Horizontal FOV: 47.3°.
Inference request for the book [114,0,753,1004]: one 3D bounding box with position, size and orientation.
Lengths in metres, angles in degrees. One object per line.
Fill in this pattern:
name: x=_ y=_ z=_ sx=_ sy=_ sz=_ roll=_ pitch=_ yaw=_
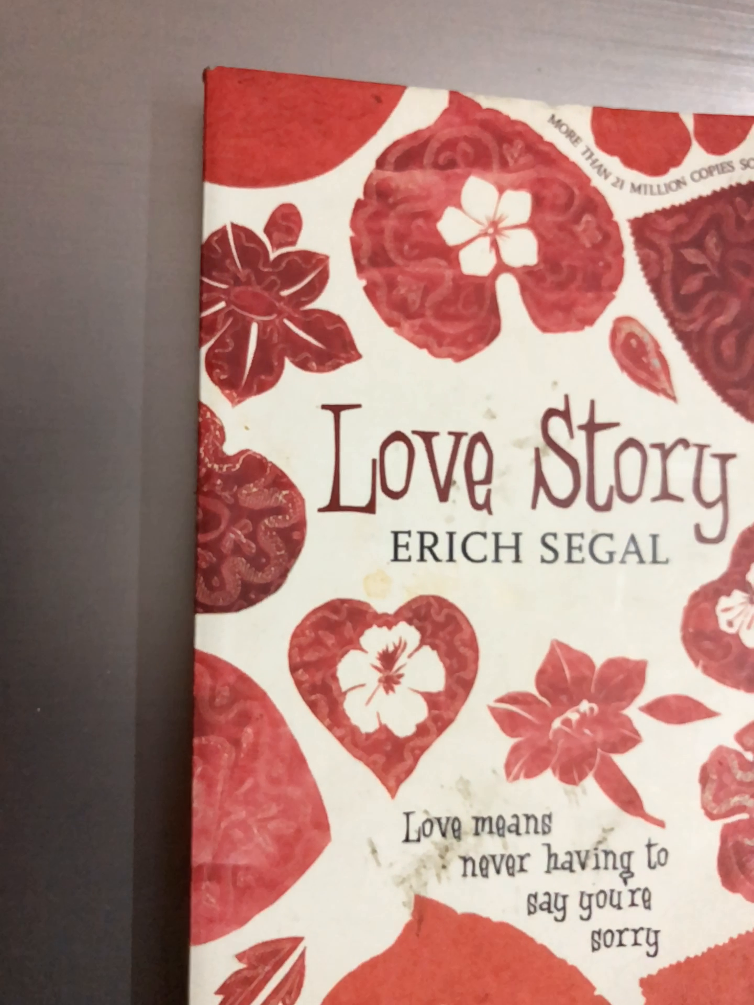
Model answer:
book: x=0.018 y=0.007 z=0.156 sx=0.120 sy=0.030 sz=0.180 roll=1 pitch=87 yaw=-11
